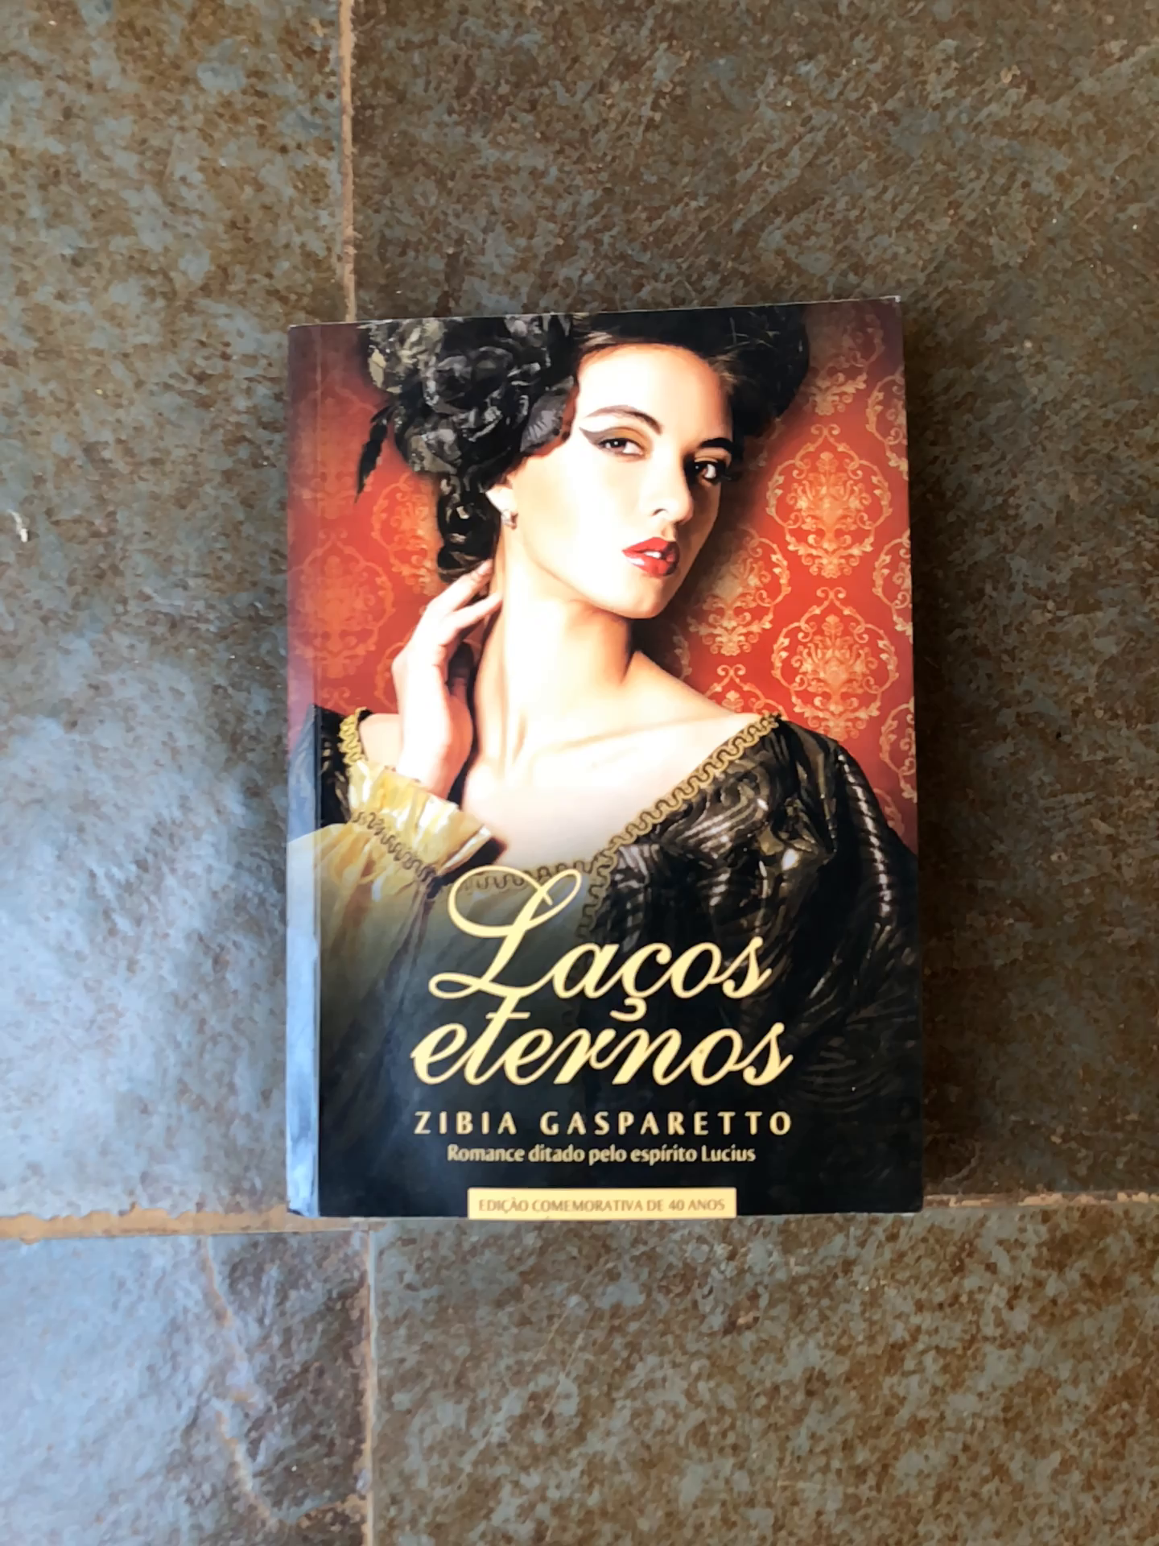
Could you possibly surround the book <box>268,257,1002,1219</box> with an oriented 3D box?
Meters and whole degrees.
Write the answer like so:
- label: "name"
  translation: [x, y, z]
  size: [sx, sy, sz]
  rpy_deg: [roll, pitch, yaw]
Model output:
- label: "book"
  translation: [0.010, -0.009, 0.287]
  size: [0.153, 0.027, 0.204]
  rpy_deg: [-1, 86, 2]
